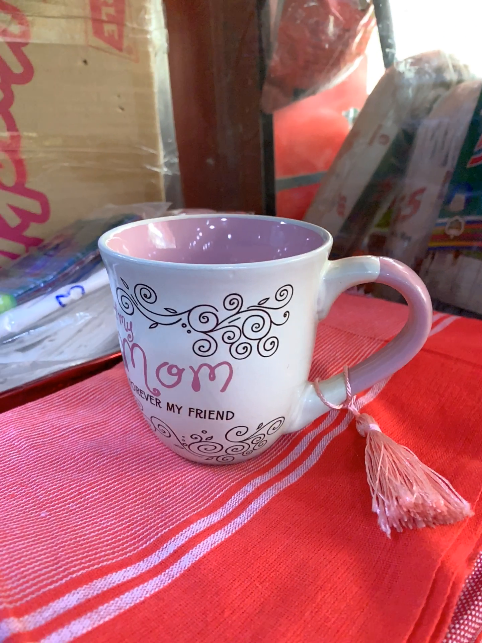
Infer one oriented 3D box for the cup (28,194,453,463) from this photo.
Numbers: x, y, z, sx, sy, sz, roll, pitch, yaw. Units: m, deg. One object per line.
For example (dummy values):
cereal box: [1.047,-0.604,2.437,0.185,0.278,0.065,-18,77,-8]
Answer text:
cup: [0.002,-0.003,0.202,0.125,0.075,0.086,-2,22,4]
